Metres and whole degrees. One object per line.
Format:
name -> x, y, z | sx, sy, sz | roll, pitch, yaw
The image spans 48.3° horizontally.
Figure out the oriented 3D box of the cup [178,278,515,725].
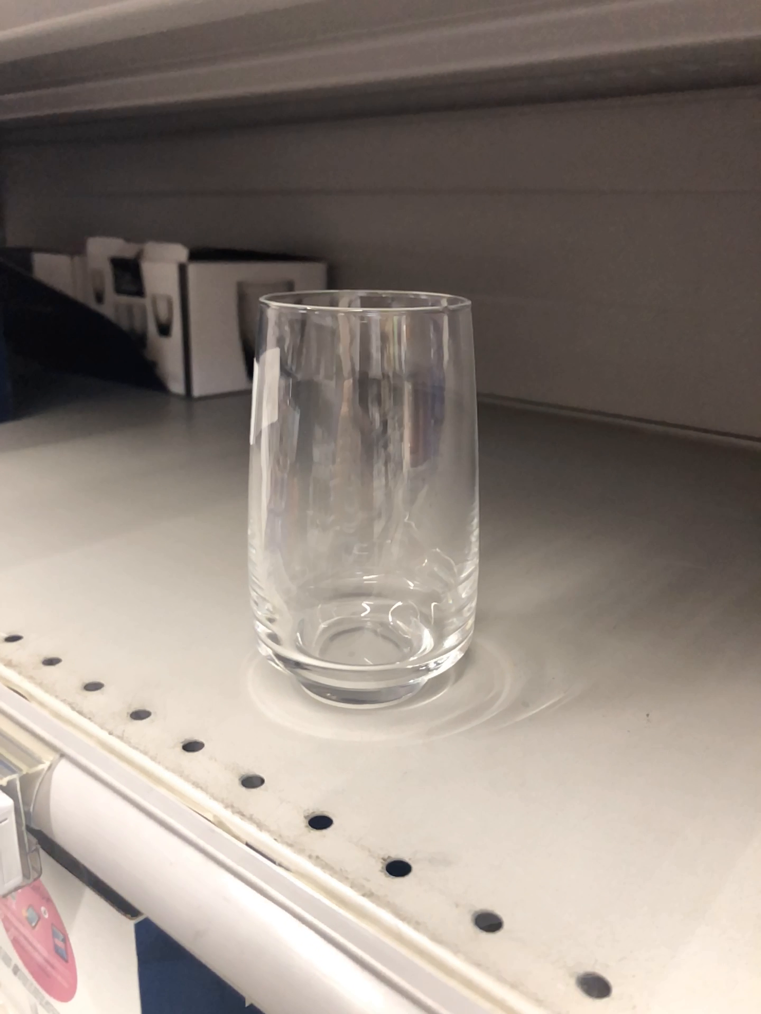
cup -> -0.006, -0.009, 0.259 | 0.076, 0.112, 0.076 | 1, 18, 0
